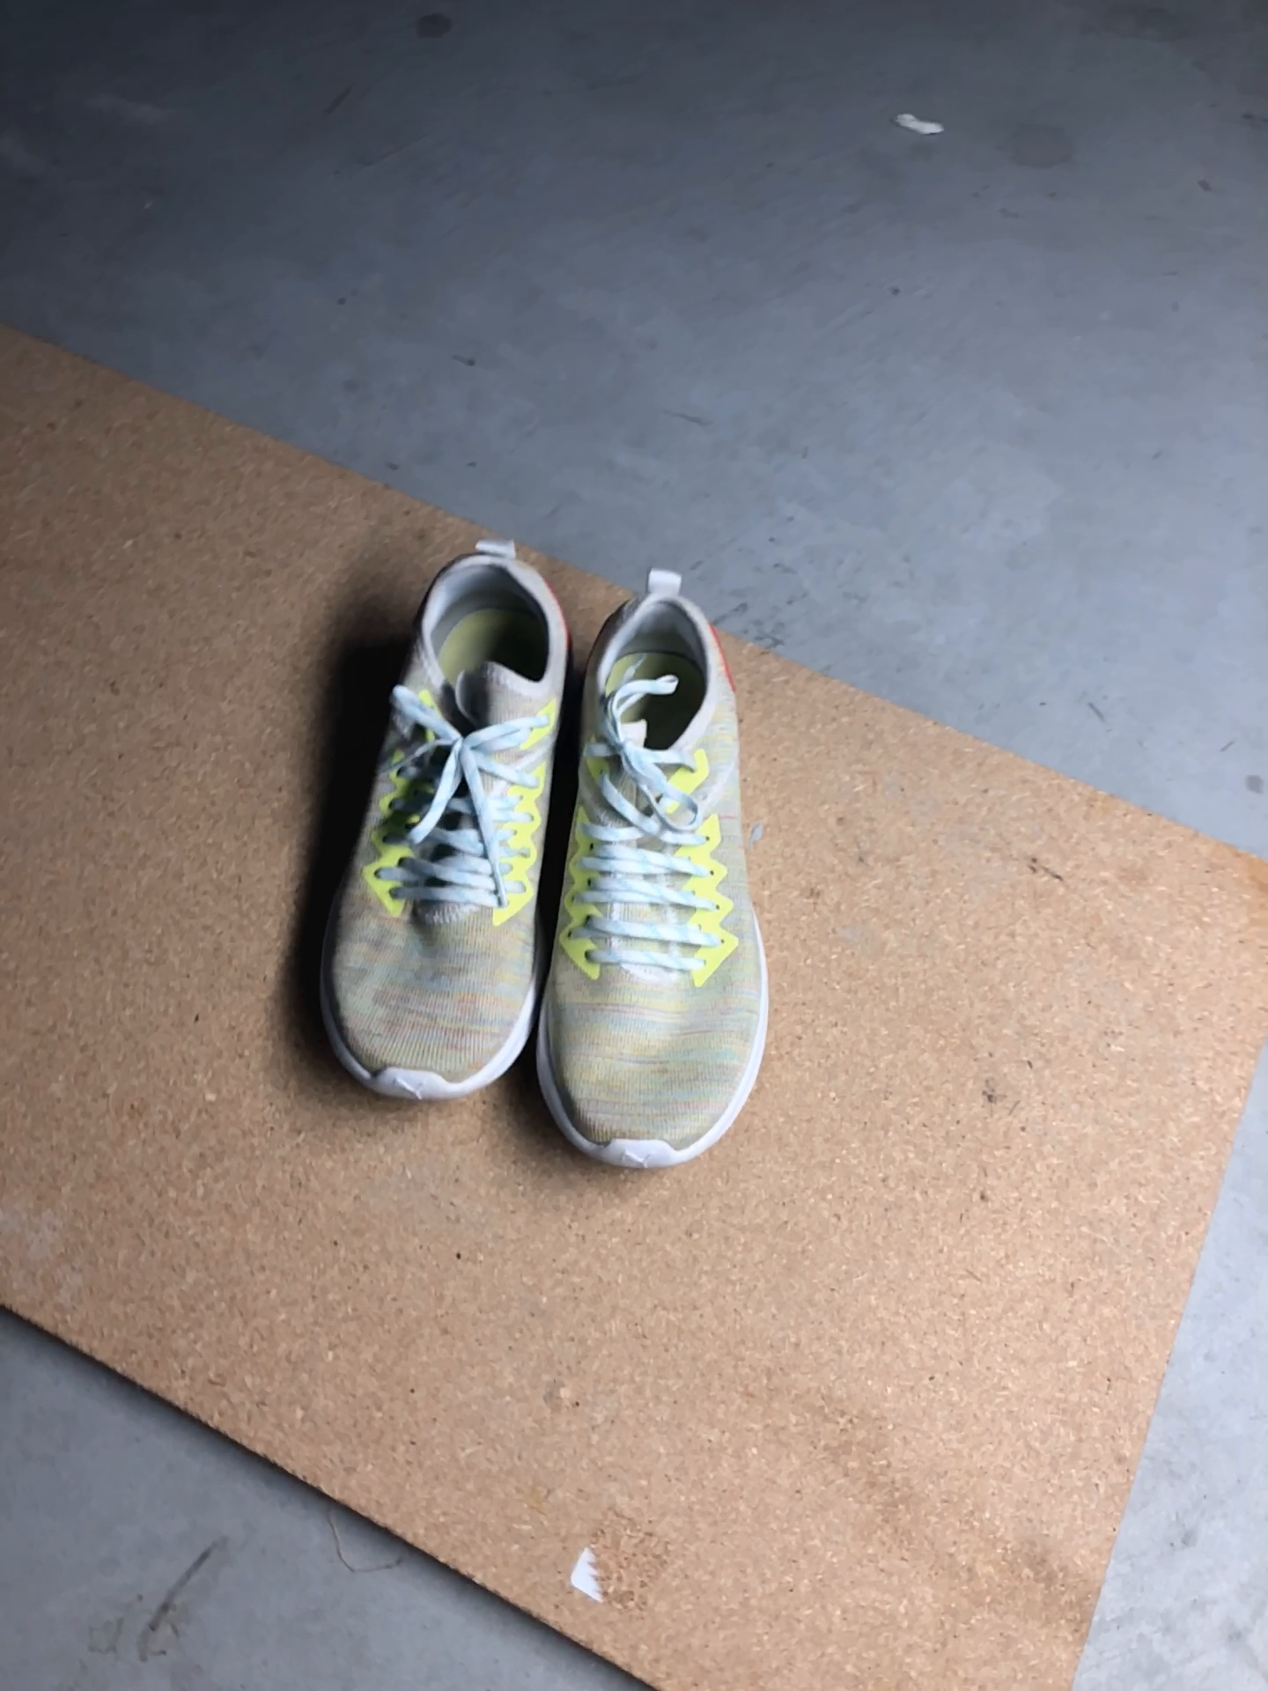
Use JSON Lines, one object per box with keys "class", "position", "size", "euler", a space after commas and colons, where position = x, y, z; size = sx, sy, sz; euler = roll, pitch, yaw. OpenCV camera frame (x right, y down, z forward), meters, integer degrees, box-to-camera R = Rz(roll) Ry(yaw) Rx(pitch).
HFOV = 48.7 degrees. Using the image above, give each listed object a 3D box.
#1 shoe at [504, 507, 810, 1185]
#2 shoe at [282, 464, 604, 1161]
{"class": "shoe", "position": [0.013, -0.001, 0.678], "size": [0.110, 0.100, 0.300], "euler": [8, 67, -7]}
{"class": "shoe", "position": [-0.084, -0.017, 0.657], "size": [0.100, 0.100, 0.300], "euler": [8, 67, -7]}
